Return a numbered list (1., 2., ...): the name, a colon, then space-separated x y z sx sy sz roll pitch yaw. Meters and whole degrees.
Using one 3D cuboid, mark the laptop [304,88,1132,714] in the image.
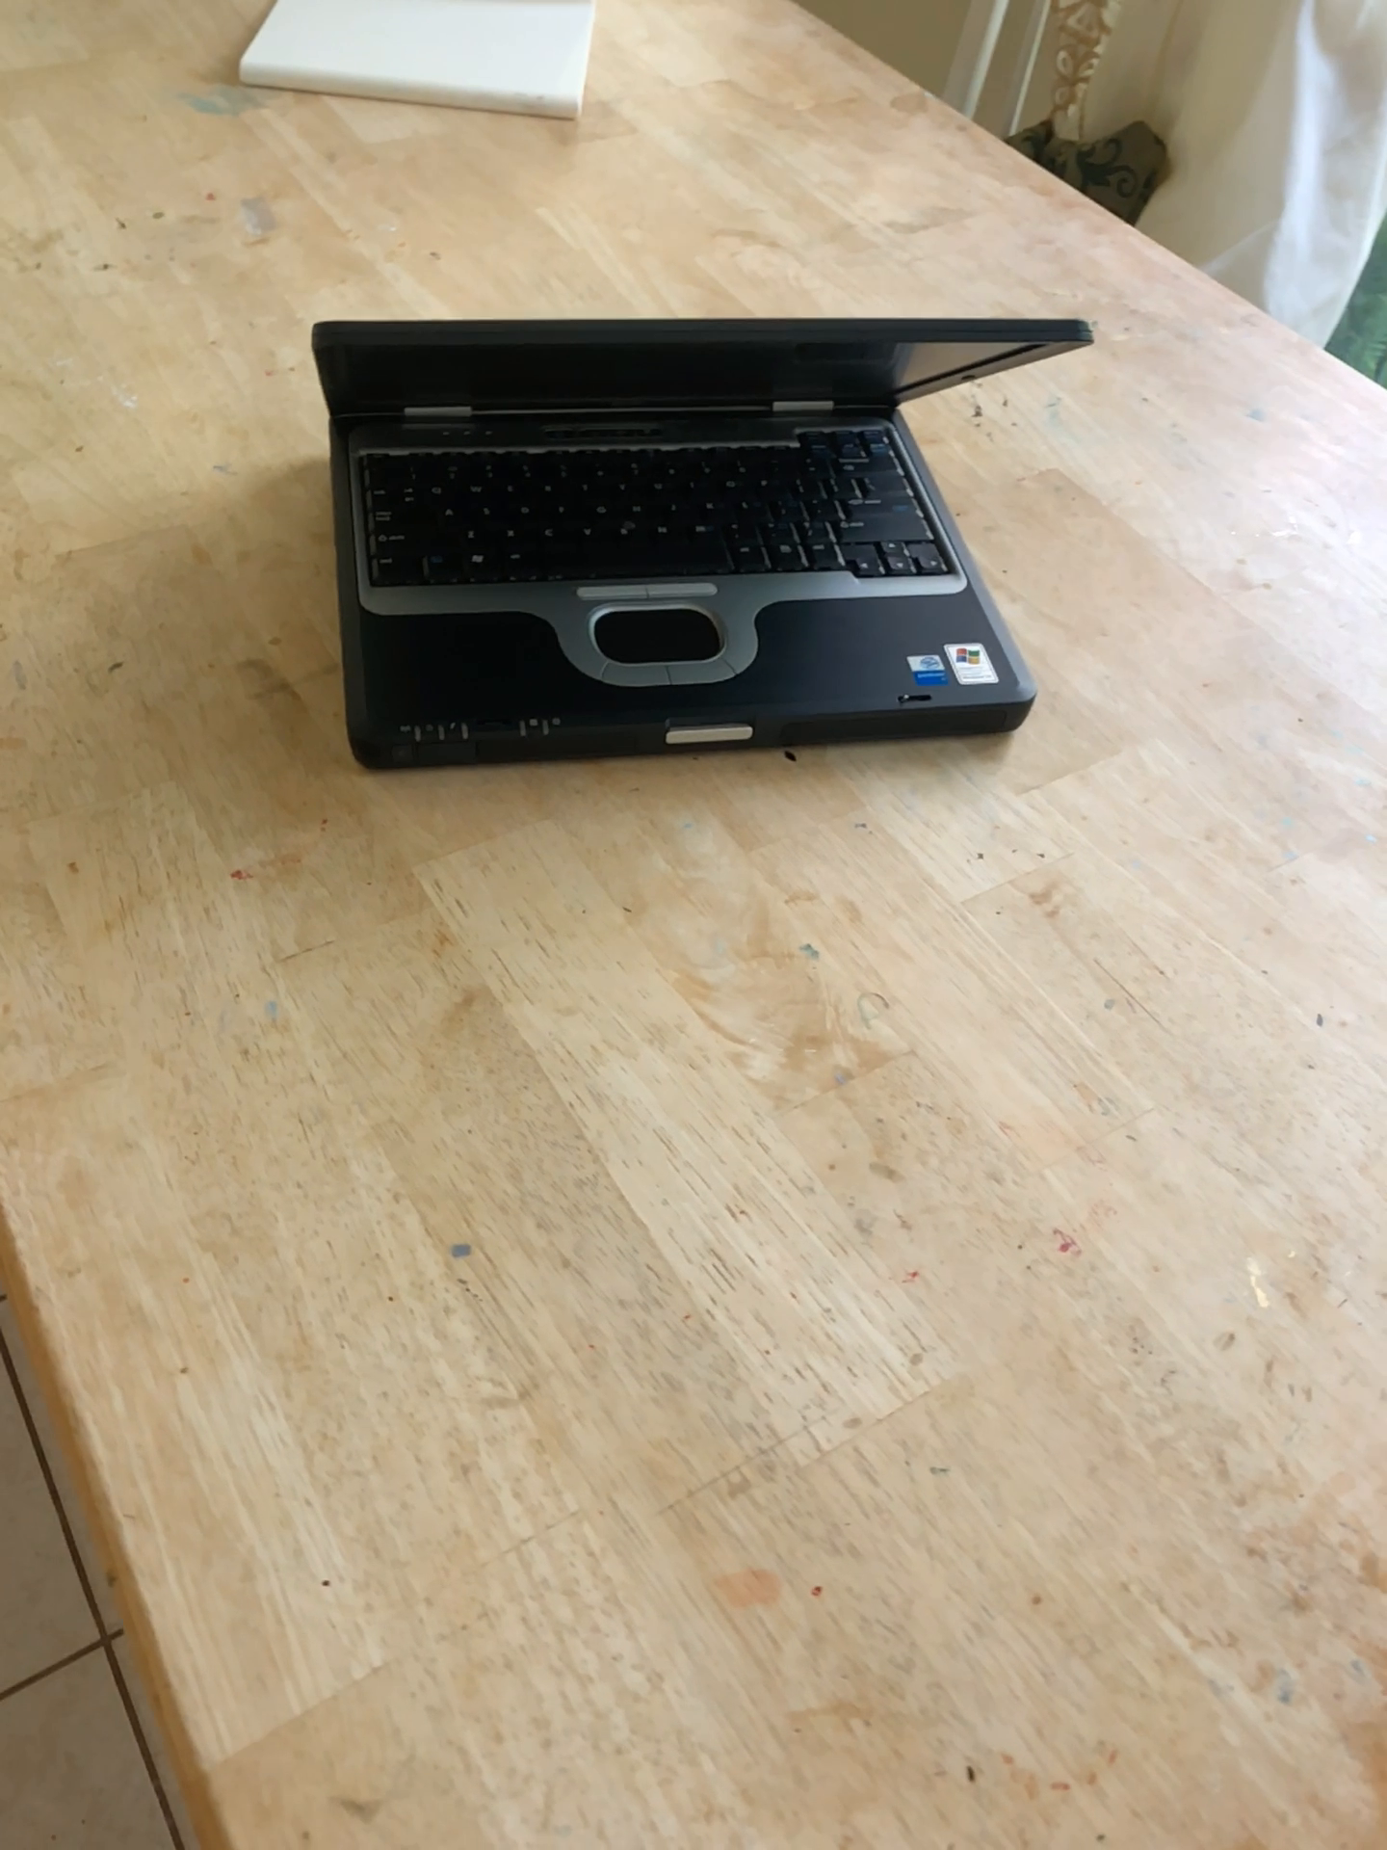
1. laptop: -0.011 -0.248 0.698 0.305 0.162 0.256 -4 48 -9
